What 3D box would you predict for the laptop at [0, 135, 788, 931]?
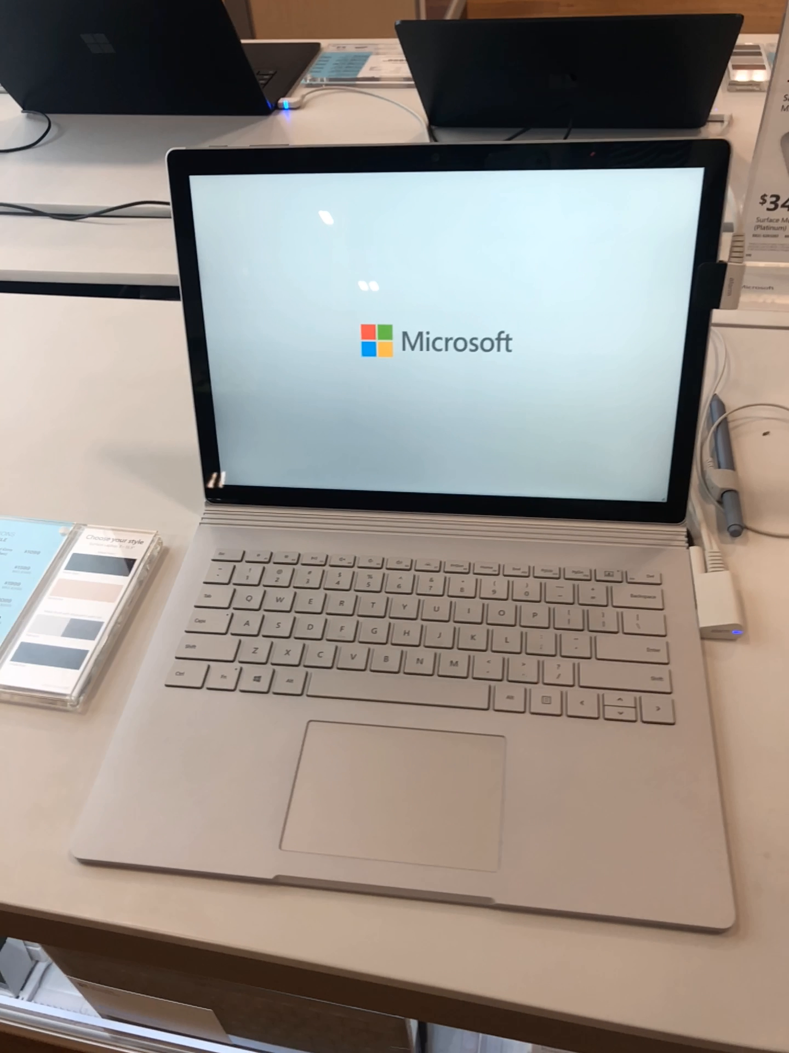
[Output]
[{"bbox_3d":[0.004,-0.023,0.420,0.291,0.191,0.312,3,47,9],"label":"laptop"}]
